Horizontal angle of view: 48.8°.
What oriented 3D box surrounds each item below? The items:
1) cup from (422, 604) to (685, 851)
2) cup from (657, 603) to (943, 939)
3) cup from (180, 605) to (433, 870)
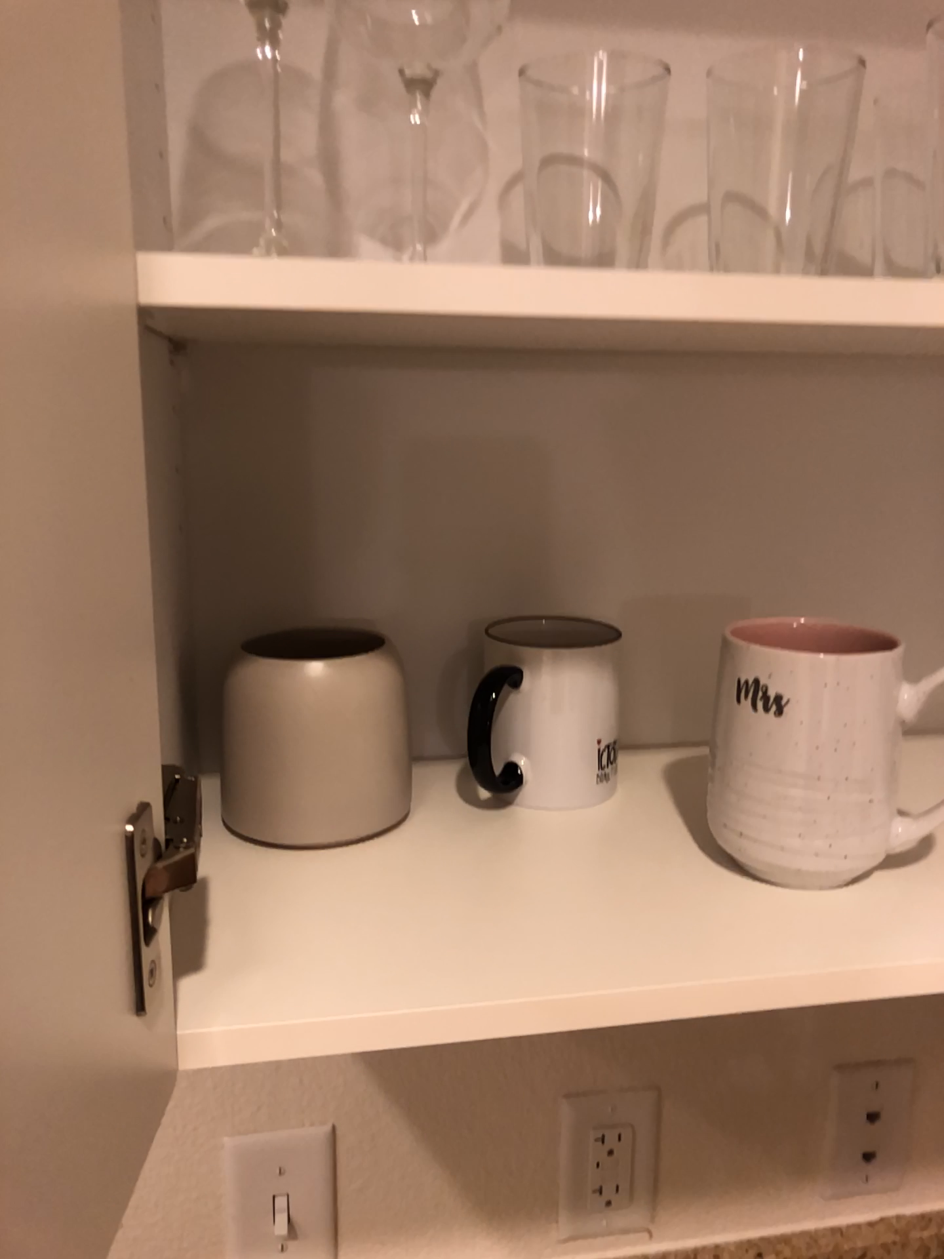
[{"bbox_3d":[0.044,0.045,0.548,0.090,0.090,0.110,10,15,37],"label":"cup"},{"bbox_3d":[0.167,0.056,0.477,0.140,0.110,0.090,6,13,24],"label":"cup"},{"bbox_3d":[-0.094,0.048,0.557,0.110,0.090,0.150,-3,13,-17],"label":"cup"}]
